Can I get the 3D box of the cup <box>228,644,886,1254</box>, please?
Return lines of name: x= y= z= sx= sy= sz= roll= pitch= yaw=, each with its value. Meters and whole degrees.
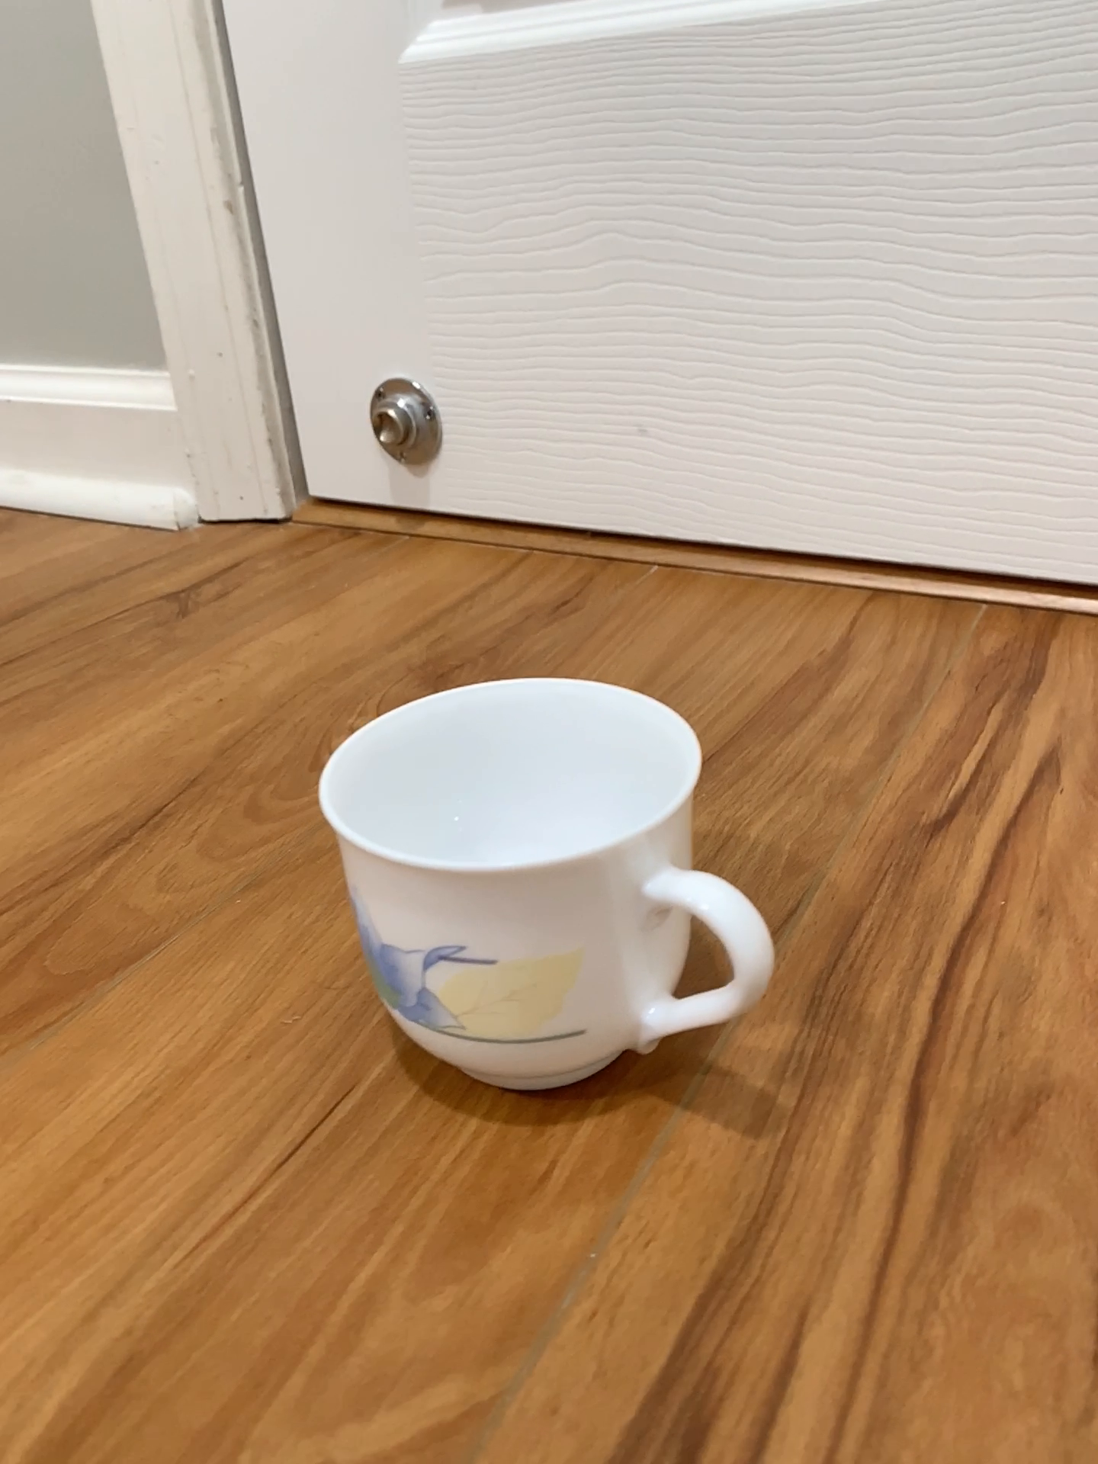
cup: x=0.004 y=0.035 z=0.243 sx=0.104 sy=0.063 sz=0.084 roll=16 pitch=34 yaw=34
